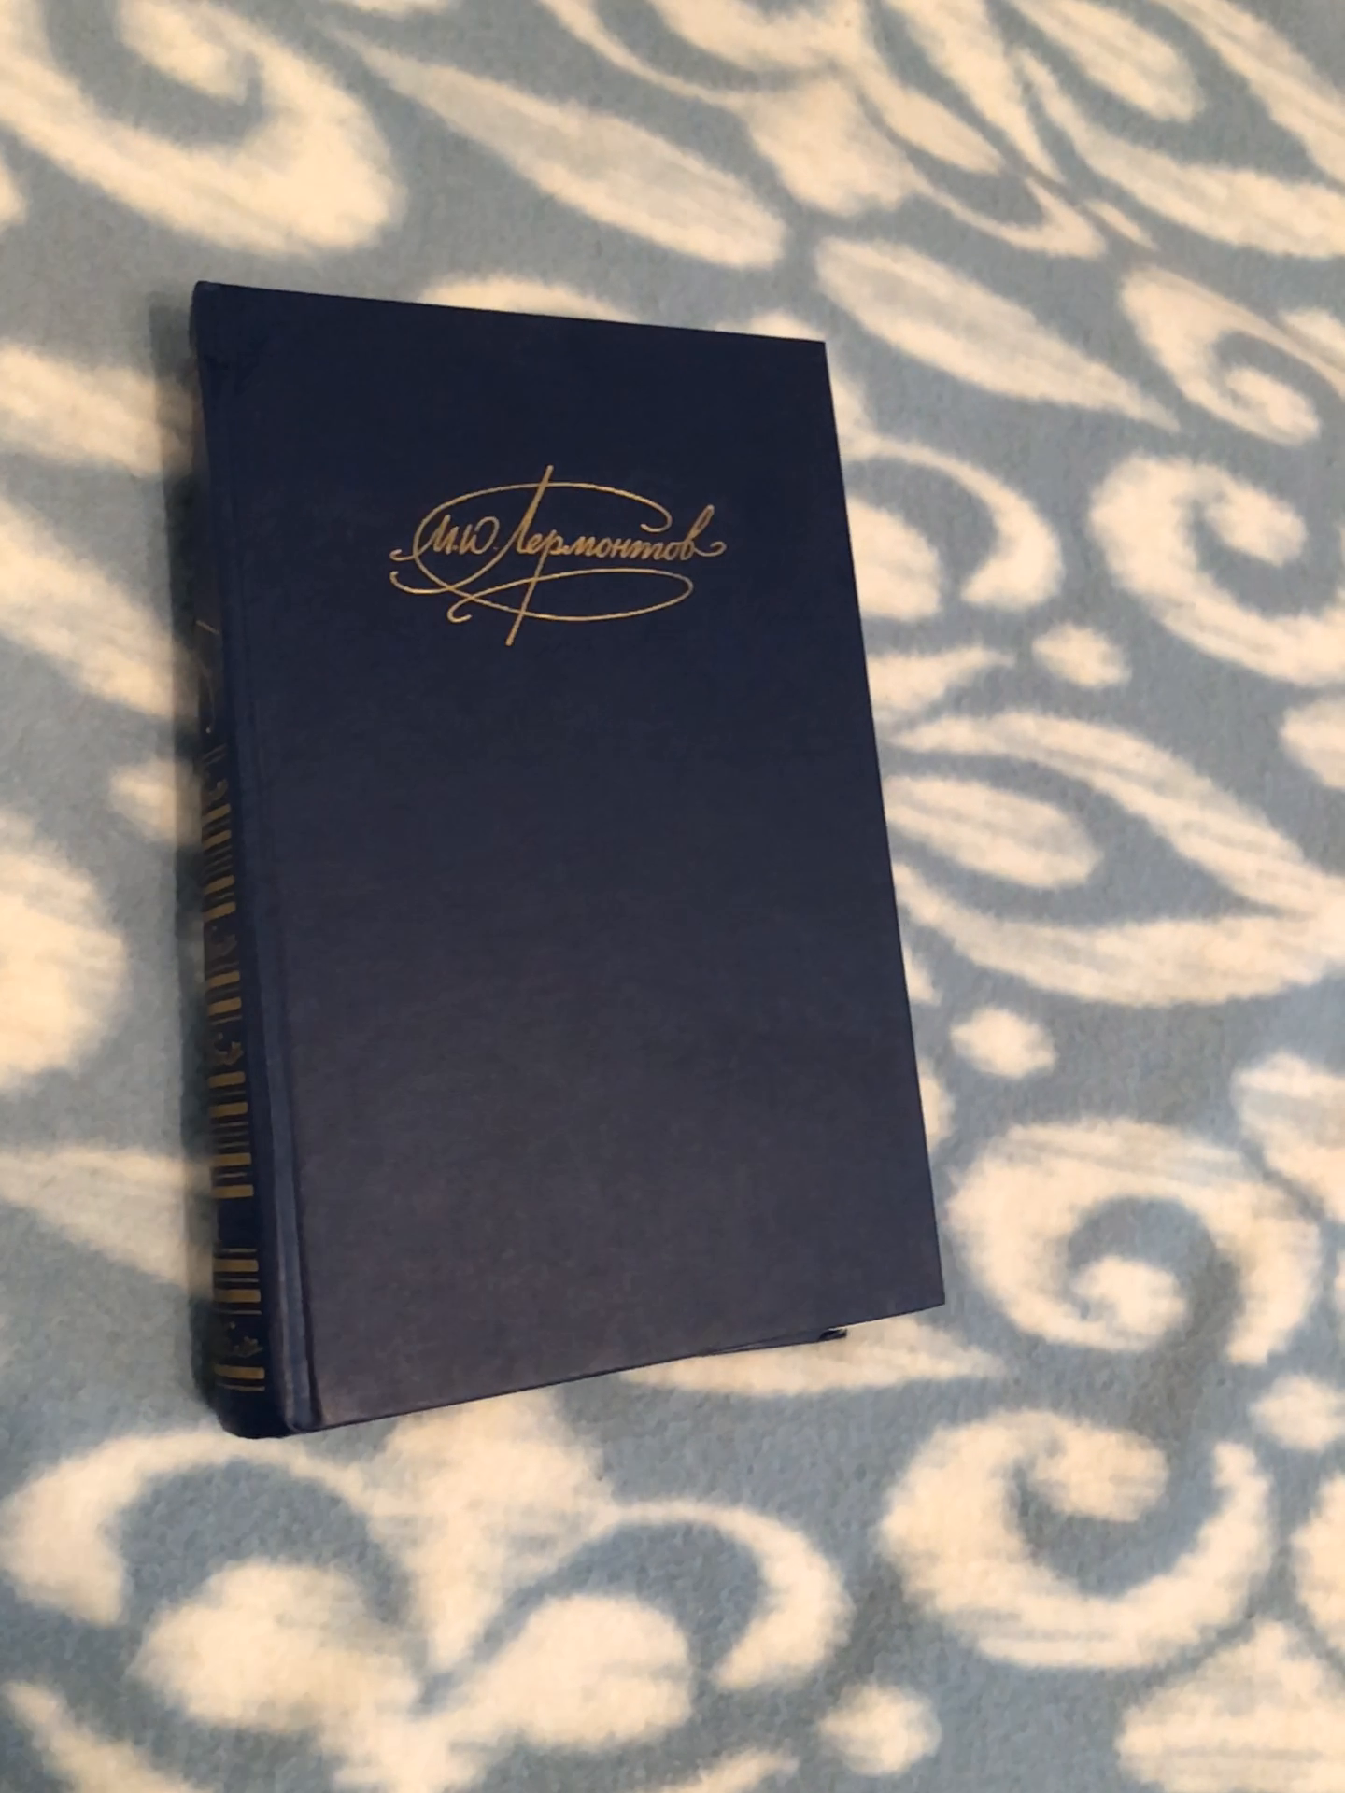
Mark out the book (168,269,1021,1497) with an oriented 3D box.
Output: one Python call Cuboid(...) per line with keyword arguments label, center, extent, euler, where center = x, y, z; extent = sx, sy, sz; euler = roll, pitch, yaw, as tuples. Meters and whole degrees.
Cuboid(label="book", center=(-0.016, -0.008, 0.284), extent=(0.139, 0.040, 0.200), euler=(-3, 81, -22))
